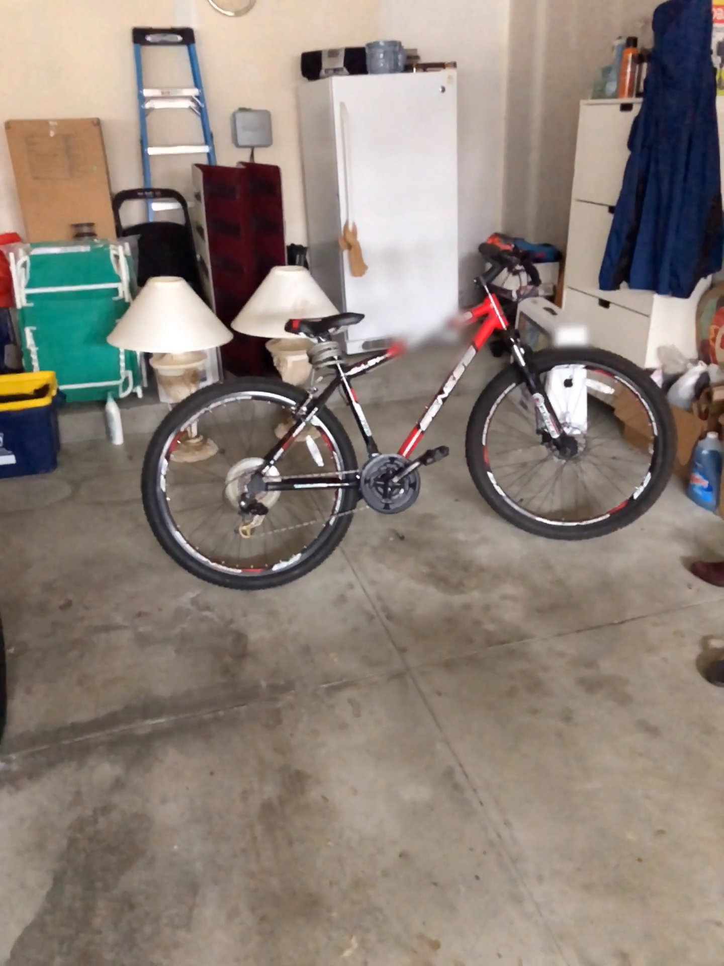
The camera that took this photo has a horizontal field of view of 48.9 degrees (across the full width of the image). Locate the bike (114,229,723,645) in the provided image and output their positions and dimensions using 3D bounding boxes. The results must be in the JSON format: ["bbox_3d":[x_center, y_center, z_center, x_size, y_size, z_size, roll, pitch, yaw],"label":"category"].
[{"bbox_3d":[0.170,-0.177,2.513,1.667,1.053,0.592,-5,24,-6],"label":"bike"}]
